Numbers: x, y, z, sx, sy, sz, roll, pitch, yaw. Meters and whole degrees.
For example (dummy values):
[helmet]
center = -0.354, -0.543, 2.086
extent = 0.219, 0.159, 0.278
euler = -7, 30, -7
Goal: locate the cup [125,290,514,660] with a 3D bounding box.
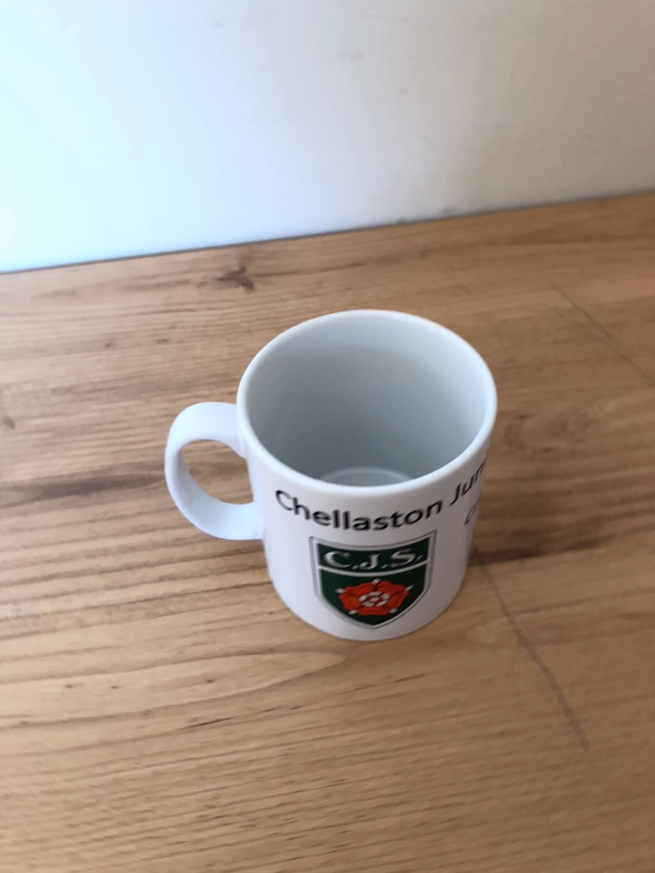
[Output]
[cup]
center = 0.002, 0.017, 0.268
extent = 0.110, 0.095, 0.084
euler = -5, 46, 4
